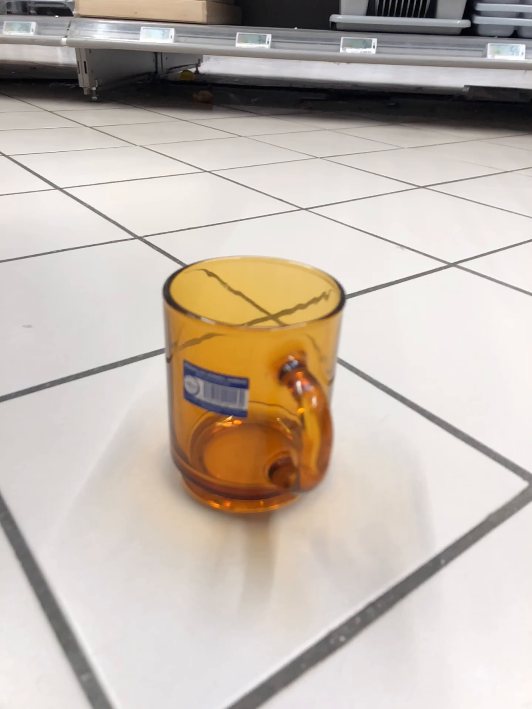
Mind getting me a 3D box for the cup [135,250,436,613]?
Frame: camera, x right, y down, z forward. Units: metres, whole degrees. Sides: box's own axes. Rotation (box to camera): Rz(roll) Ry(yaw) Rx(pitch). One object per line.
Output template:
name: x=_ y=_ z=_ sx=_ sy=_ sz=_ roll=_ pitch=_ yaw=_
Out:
cup: x=-0.003 y=0.019 z=0.215 sx=0.074 sy=0.082 sz=0.096 roll=-7 pitch=30 yaw=-16
